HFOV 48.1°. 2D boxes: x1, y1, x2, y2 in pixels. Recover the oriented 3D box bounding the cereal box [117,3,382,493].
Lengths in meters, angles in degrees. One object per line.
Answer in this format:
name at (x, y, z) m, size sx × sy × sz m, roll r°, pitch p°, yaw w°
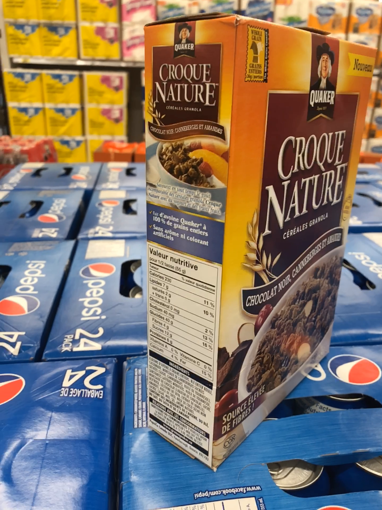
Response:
cereal box at (0.041, -0.008, 0.261) m, size 0.060 × 0.229 × 0.160 m, roll 20°, pitch 29°, yaw 37°
